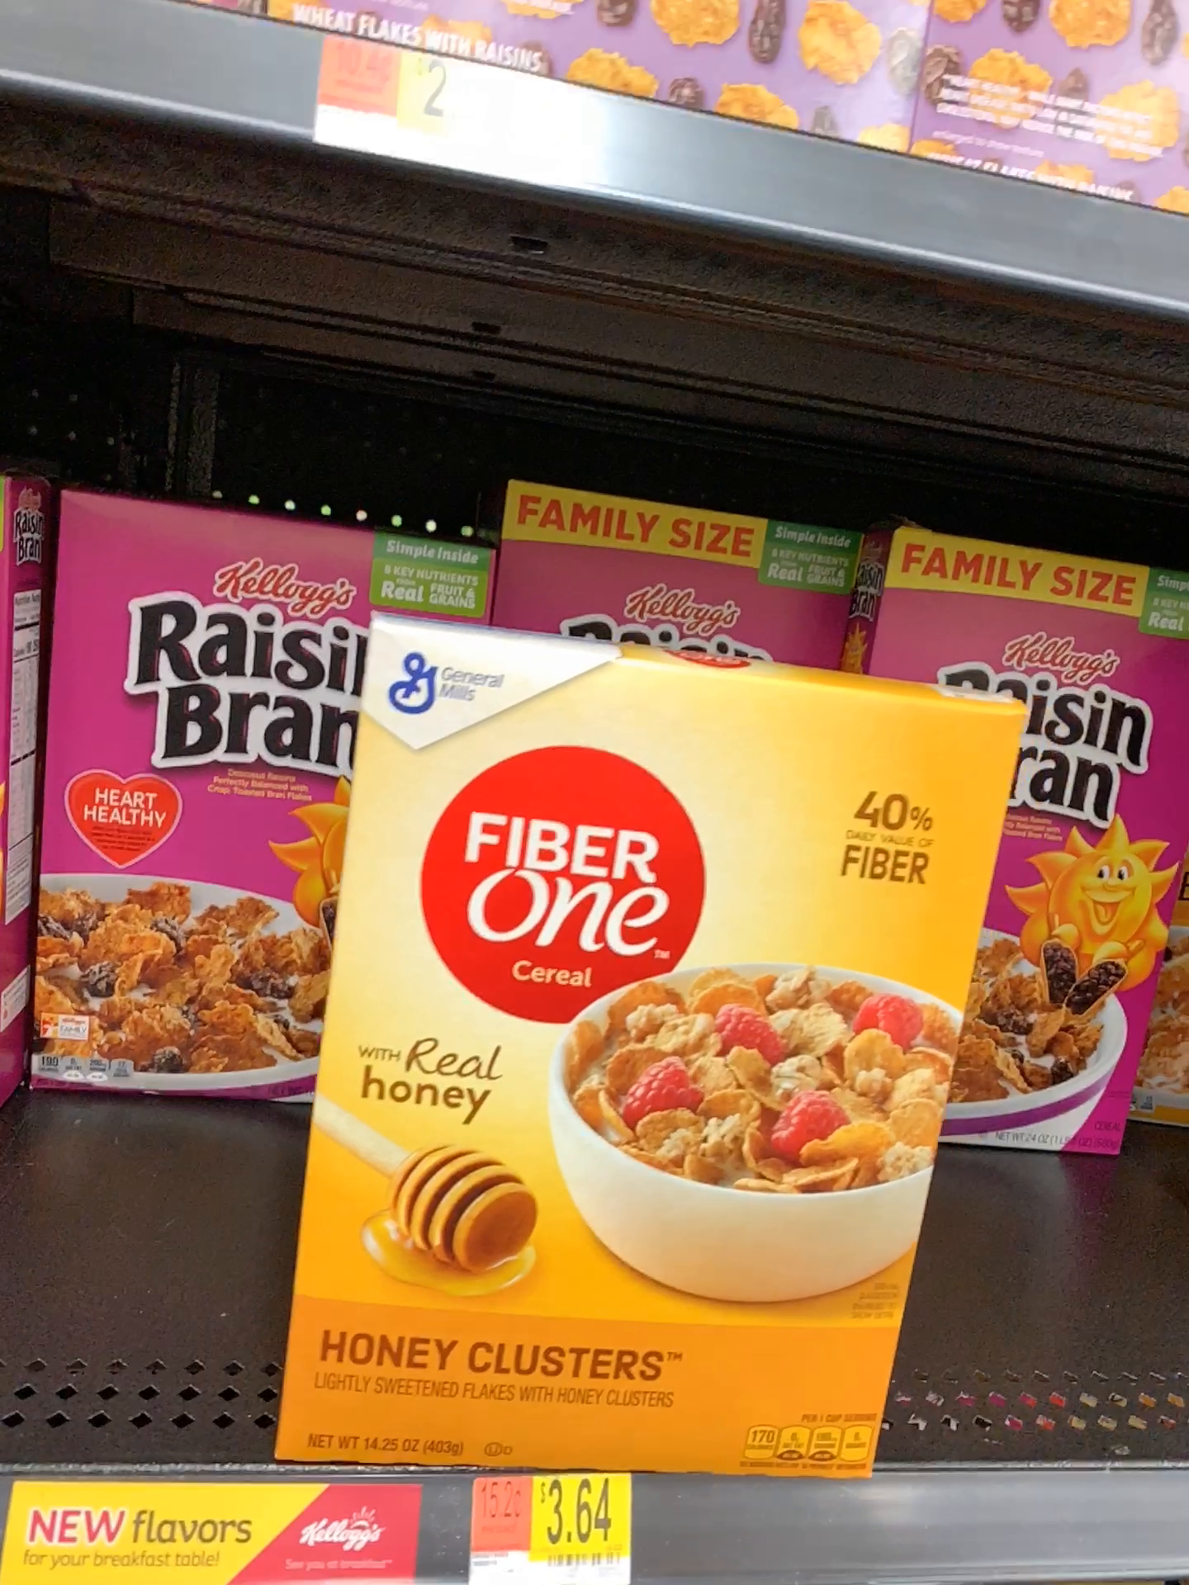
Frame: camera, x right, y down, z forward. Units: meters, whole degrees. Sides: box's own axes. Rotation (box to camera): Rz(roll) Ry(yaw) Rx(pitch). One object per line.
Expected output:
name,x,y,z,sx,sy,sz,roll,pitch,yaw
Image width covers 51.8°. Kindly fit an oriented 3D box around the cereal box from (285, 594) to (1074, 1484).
cereal box,0.020,0.082,0.384,0.200,0.259,0.050,6,10,-8
